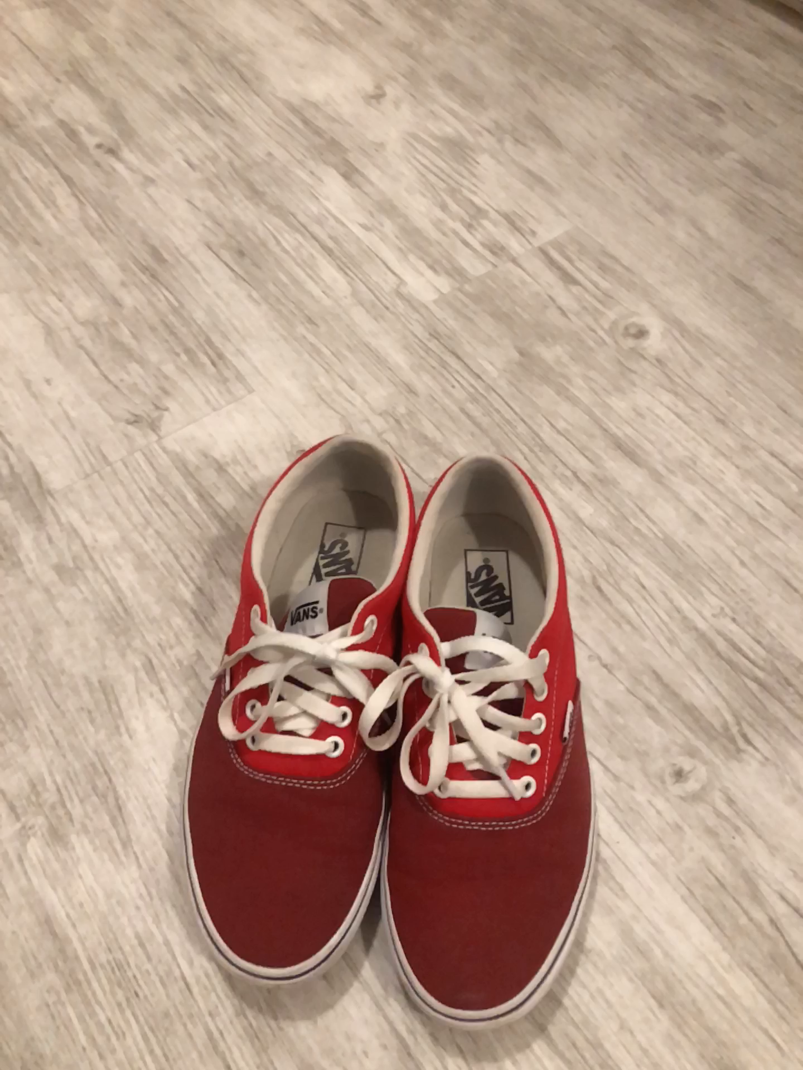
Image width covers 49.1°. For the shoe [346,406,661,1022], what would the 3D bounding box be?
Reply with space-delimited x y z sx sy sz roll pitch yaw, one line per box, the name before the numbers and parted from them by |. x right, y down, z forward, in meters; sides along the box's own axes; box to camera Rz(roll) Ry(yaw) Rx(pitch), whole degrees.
shoe | 0.041 0.073 0.415 0.110 0.088 0.266 3 58 1

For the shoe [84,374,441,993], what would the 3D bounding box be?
shoe | -0.048 0.060 0.425 0.110 0.093 0.272 5 58 2
